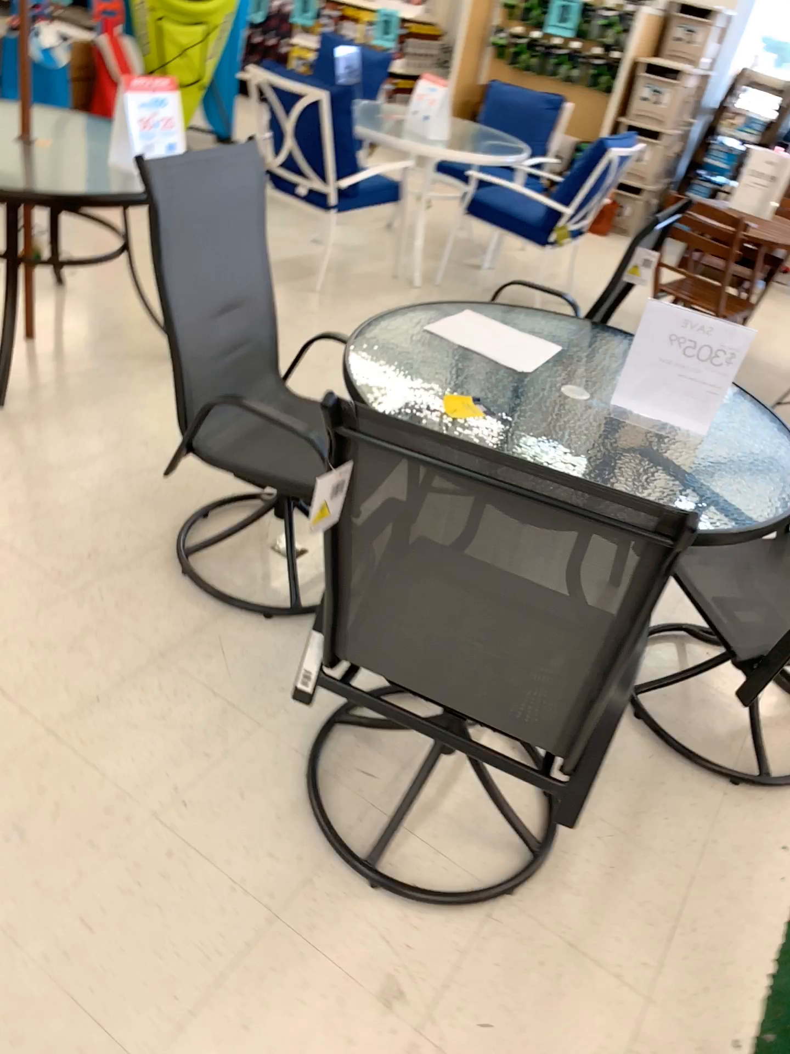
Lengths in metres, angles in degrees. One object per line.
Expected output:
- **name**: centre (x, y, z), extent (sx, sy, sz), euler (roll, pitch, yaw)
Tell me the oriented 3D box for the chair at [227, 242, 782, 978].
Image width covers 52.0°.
- **chair**: centre (0.159, 0.129, 1.438), extent (0.580, 0.975, 0.643), euler (21, 35, 11)
